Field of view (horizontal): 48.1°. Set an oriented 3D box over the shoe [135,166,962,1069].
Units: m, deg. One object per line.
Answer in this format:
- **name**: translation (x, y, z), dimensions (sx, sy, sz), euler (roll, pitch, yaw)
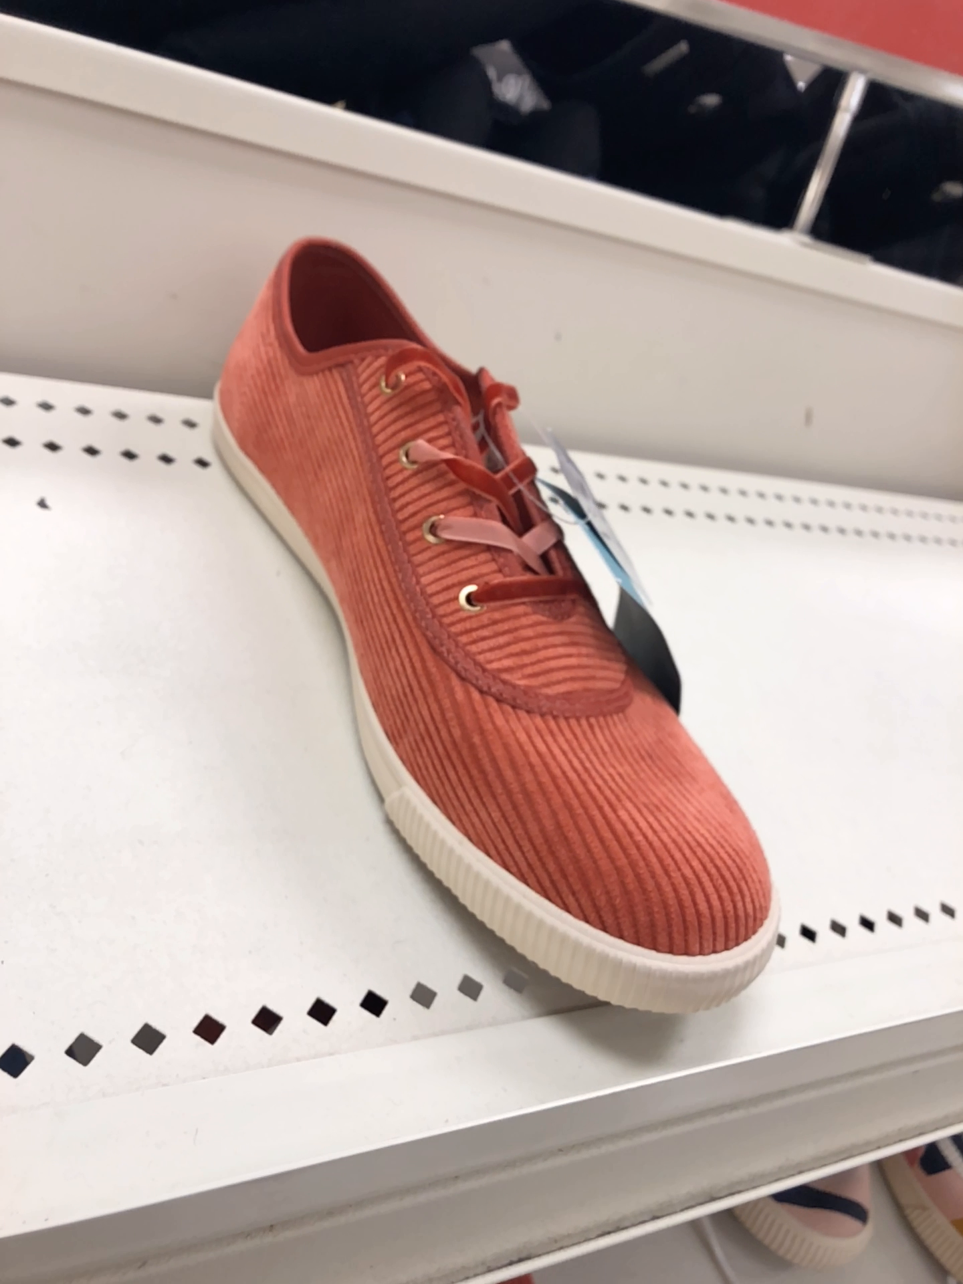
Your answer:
- **shoe**: translation (-0.010, -0.043, 0.342), dimensions (0.100, 0.089, 0.322), euler (-1, 38, -35)
